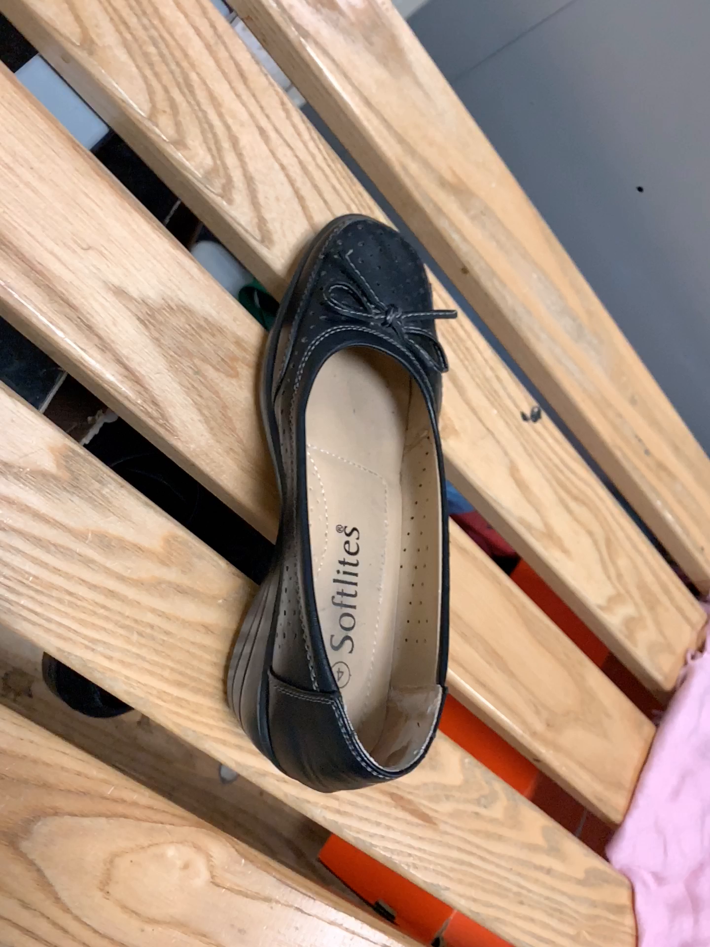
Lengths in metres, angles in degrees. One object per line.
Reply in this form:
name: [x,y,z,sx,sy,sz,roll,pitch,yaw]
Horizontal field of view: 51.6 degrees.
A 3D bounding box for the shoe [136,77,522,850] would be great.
shoe: [-0.009,-0.004,0.319,0.087,0.109,0.272,16,75,-34]
